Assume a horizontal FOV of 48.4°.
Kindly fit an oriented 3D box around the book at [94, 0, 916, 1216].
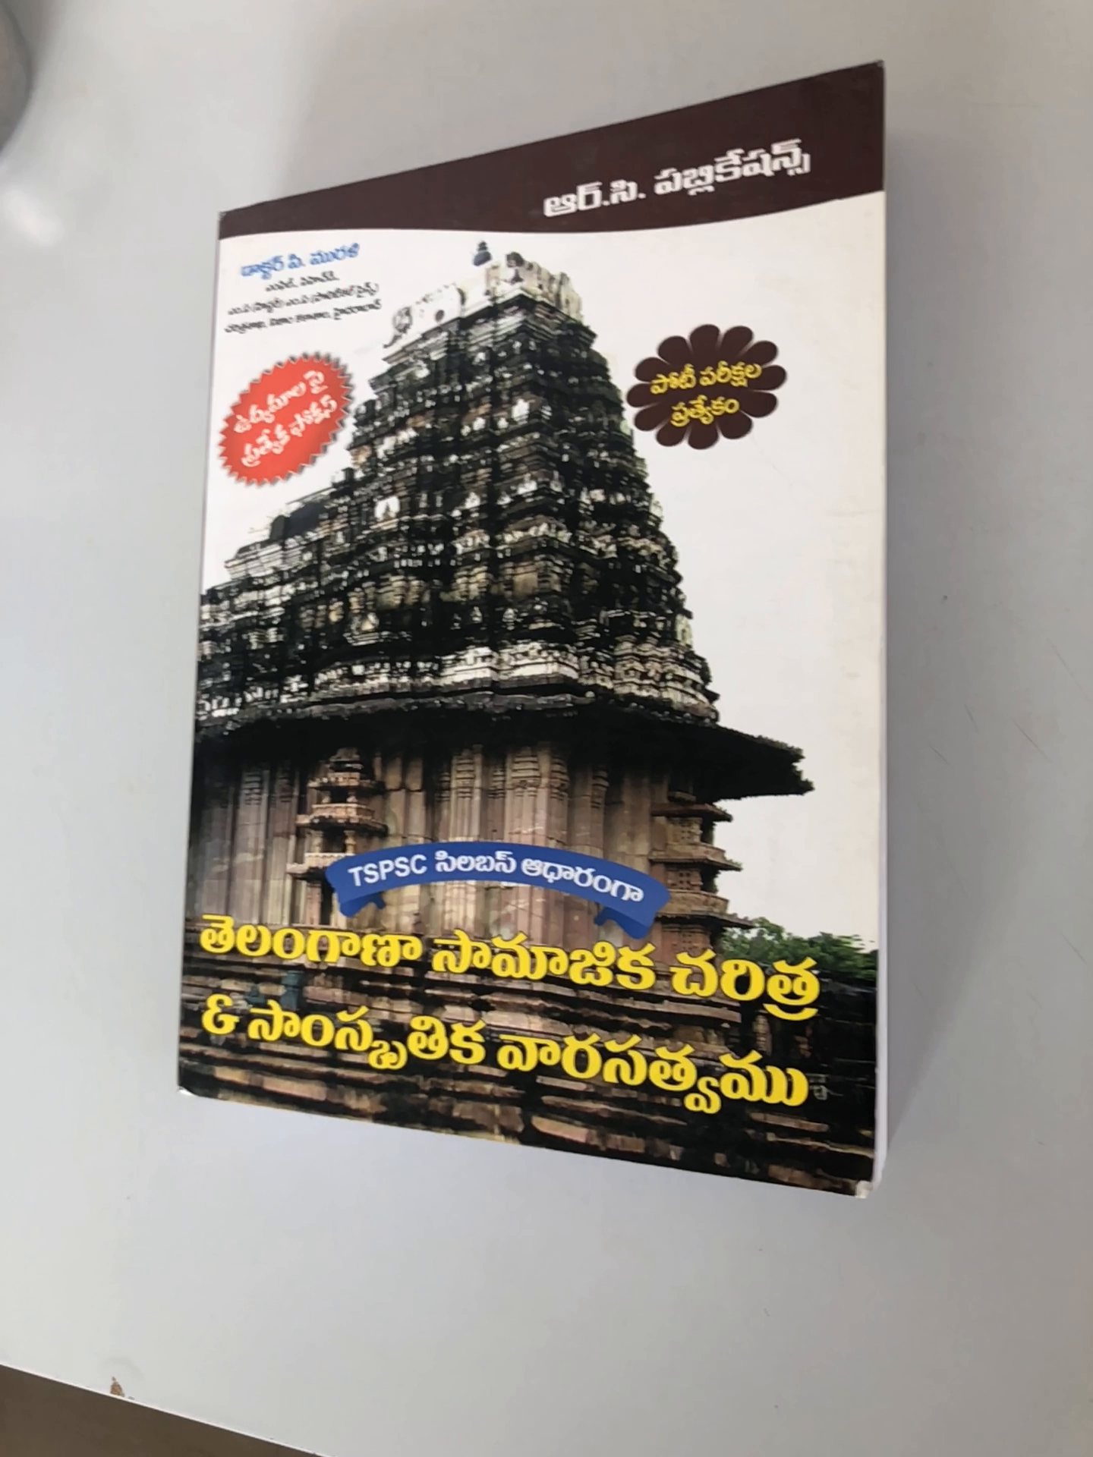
[{"bbox_3d":[-0.012,-0.026,0.281,0.180,0.040,0.230,0,85,23],"label":"book"}]
